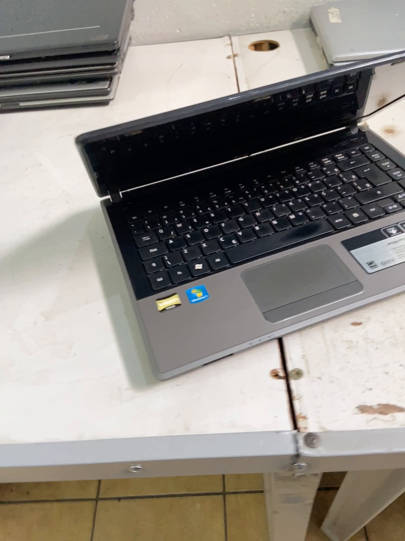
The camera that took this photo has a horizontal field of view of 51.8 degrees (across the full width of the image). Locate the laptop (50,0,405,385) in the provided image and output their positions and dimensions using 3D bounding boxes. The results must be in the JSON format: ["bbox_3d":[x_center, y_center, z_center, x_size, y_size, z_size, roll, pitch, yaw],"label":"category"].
[{"bbox_3d":[0.075,-0.098,0.360,0.334,0.157,0.227,-18,48,-11],"label":"laptop"}]
